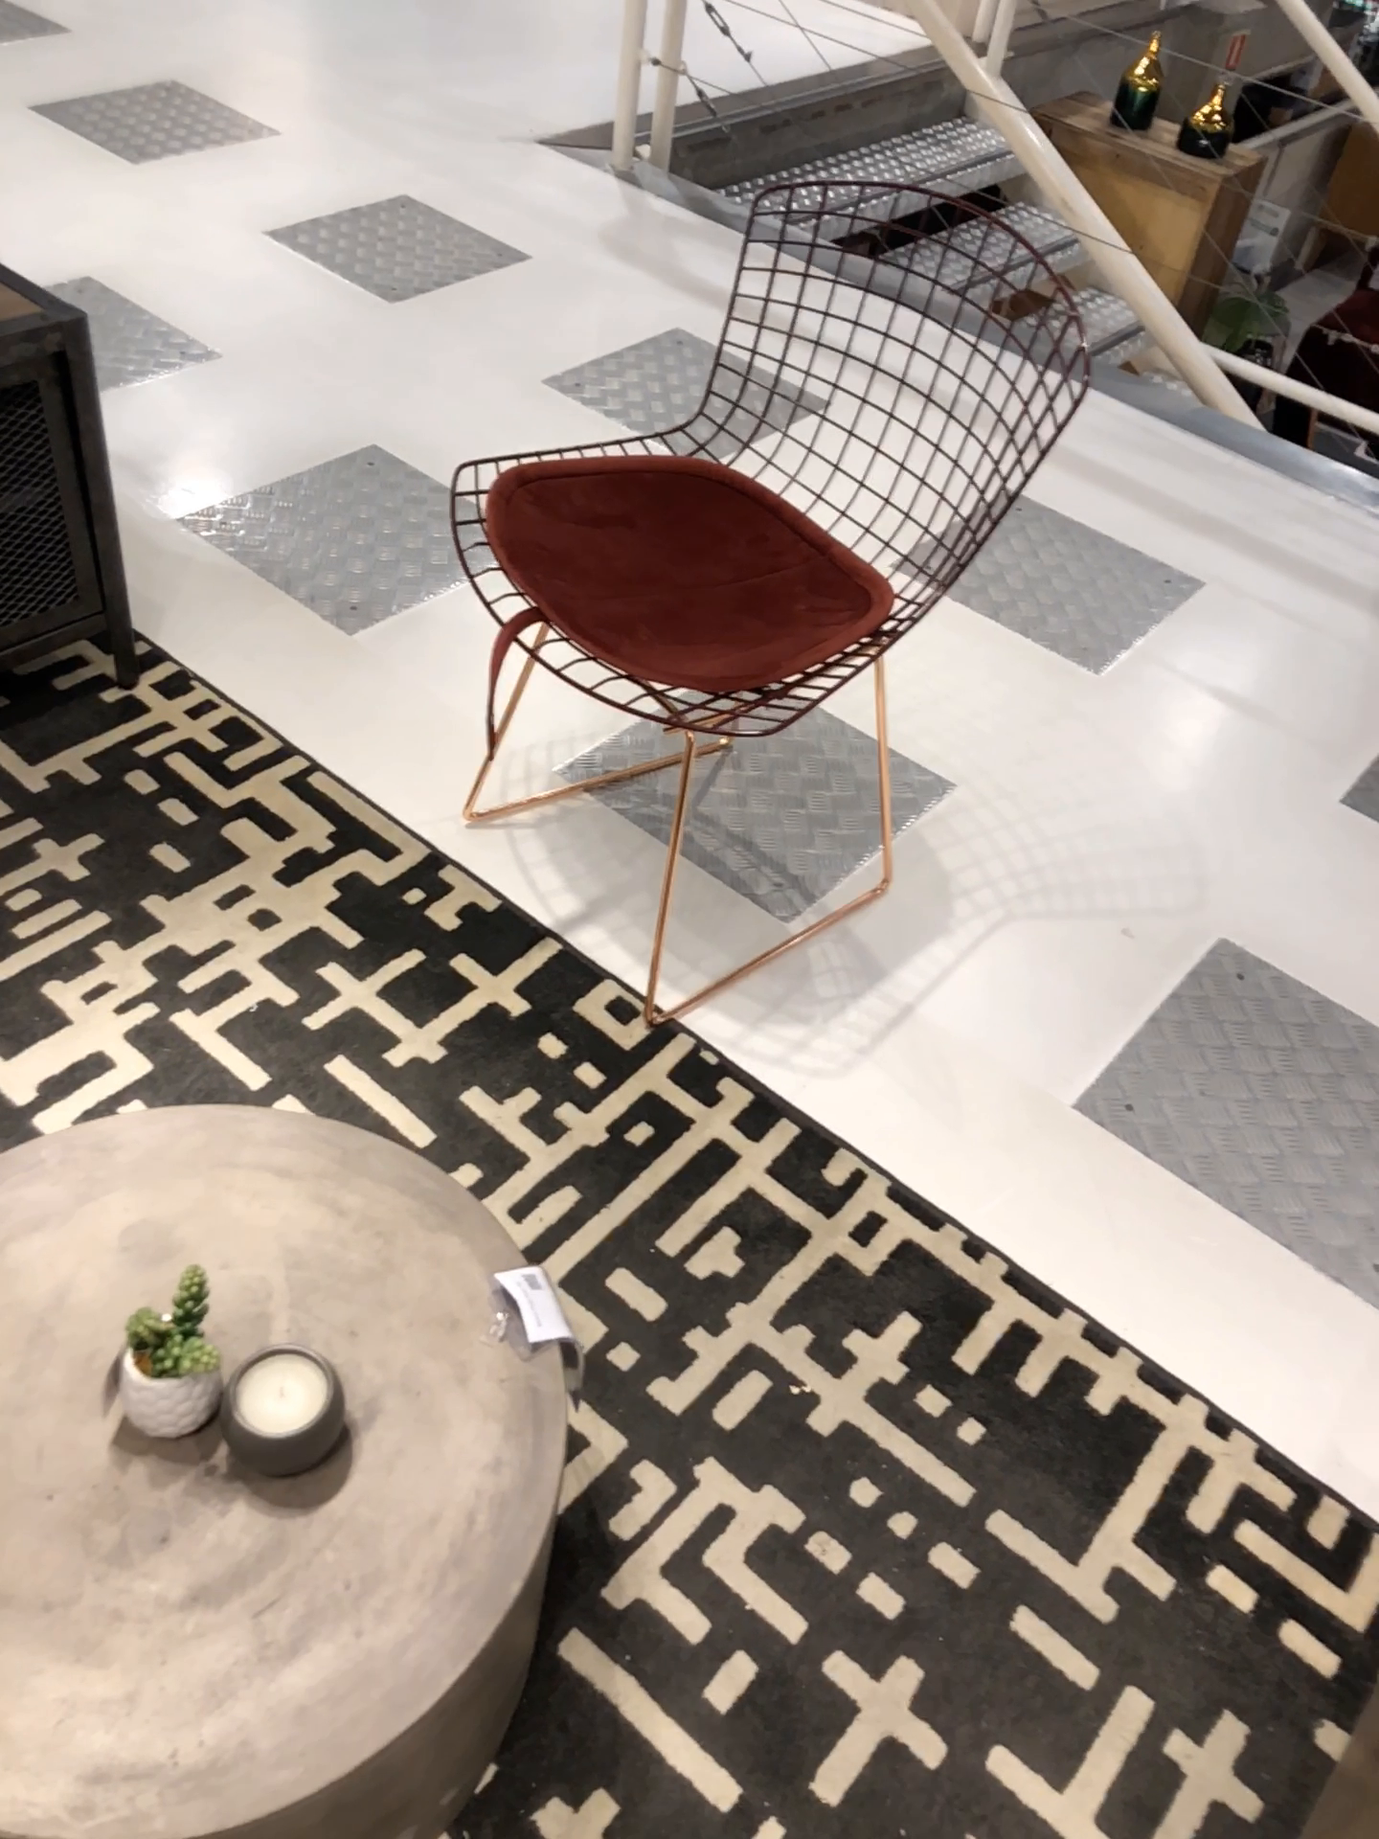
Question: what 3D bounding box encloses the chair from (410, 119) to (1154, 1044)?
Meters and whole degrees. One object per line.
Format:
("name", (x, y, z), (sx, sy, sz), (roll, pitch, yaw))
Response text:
("chair", (0.035, -0.376, 1.685), (0.502, 0.764, 0.512), (-22, 52, -29))
